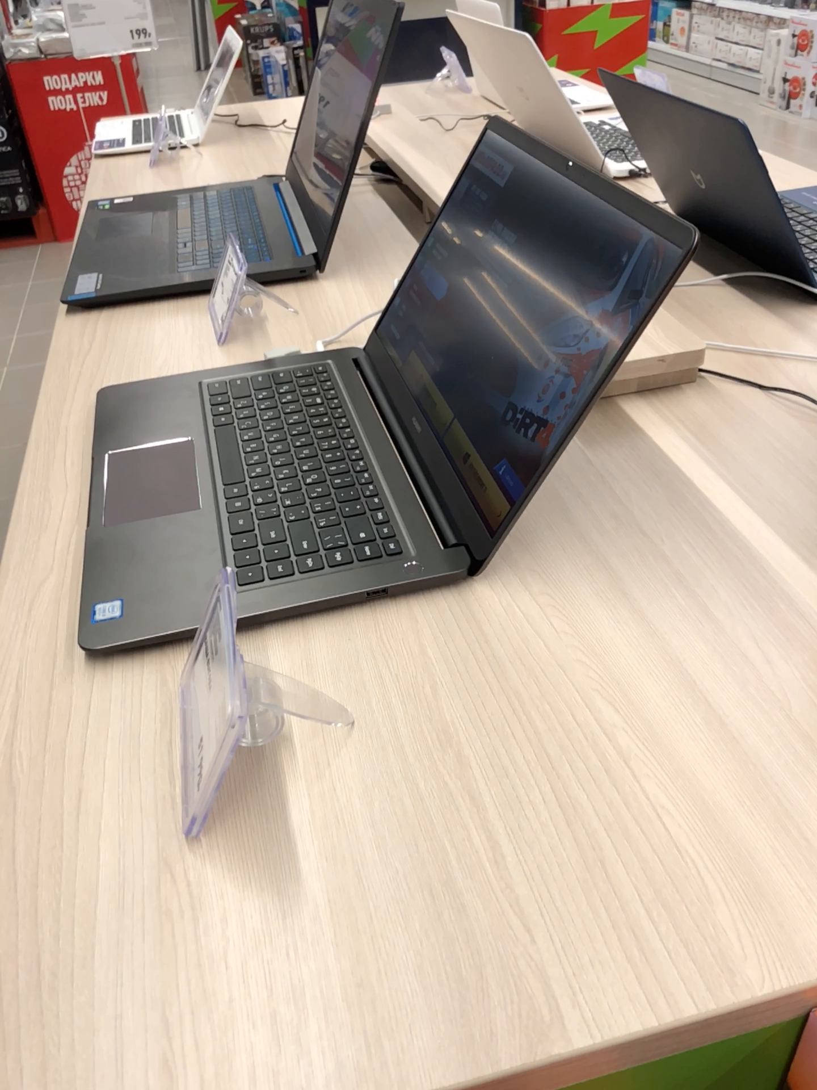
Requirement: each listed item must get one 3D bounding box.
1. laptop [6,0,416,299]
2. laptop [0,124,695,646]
[{"bbox_3d":[-0.227,-0.507,1.095,0.378,0.242,0.394,-10,36,-7],"label":"laptop"},{"bbox_3d":[-0.055,-0.147,0.640,0.357,0.180,0.346,-12,36,-9],"label":"laptop"}]
